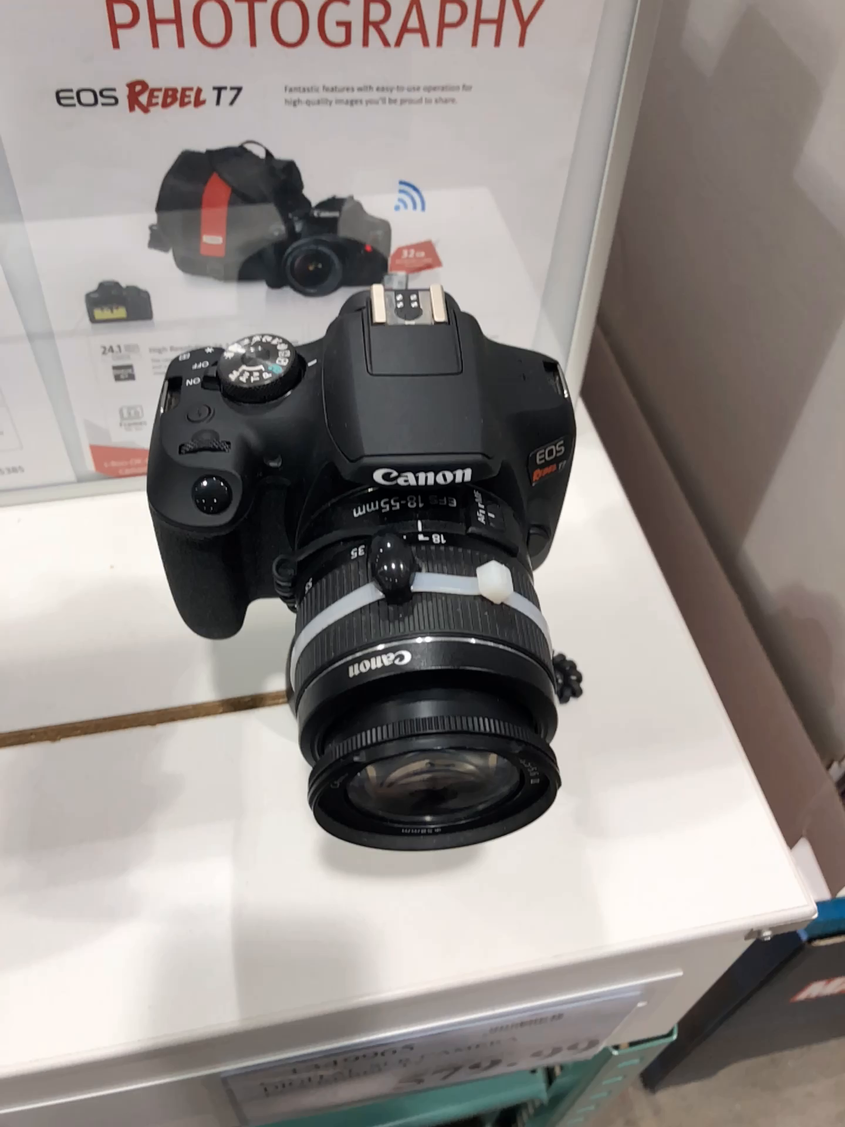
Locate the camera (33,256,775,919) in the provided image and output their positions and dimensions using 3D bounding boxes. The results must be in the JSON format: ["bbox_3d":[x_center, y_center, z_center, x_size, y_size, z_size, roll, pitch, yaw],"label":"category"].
[{"bbox_3d":[-0.012,0.000,0.255,0.140,0.090,0.140,-6,51,-7],"label":"camera"}]
